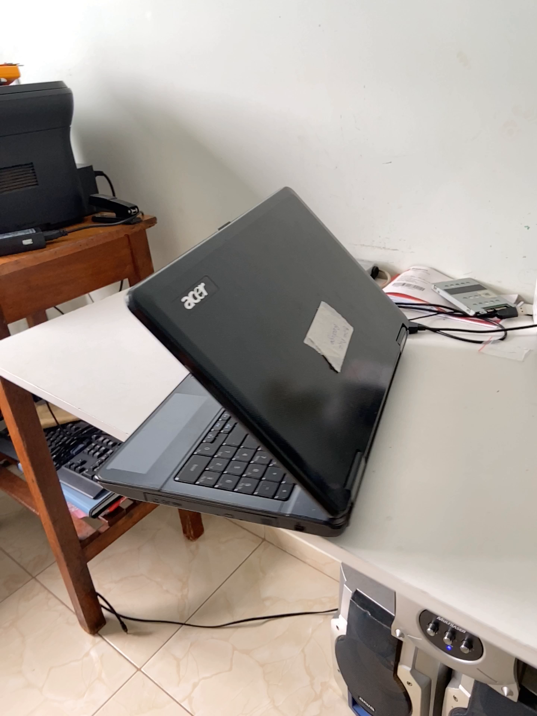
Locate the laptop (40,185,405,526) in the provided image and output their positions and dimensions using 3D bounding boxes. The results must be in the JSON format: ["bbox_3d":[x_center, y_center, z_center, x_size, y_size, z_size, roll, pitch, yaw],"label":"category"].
[{"bbox_3d":[-0.002,-0.046,0.586,0.232,0.183,0.368,5,30,21],"label":"laptop"}]
